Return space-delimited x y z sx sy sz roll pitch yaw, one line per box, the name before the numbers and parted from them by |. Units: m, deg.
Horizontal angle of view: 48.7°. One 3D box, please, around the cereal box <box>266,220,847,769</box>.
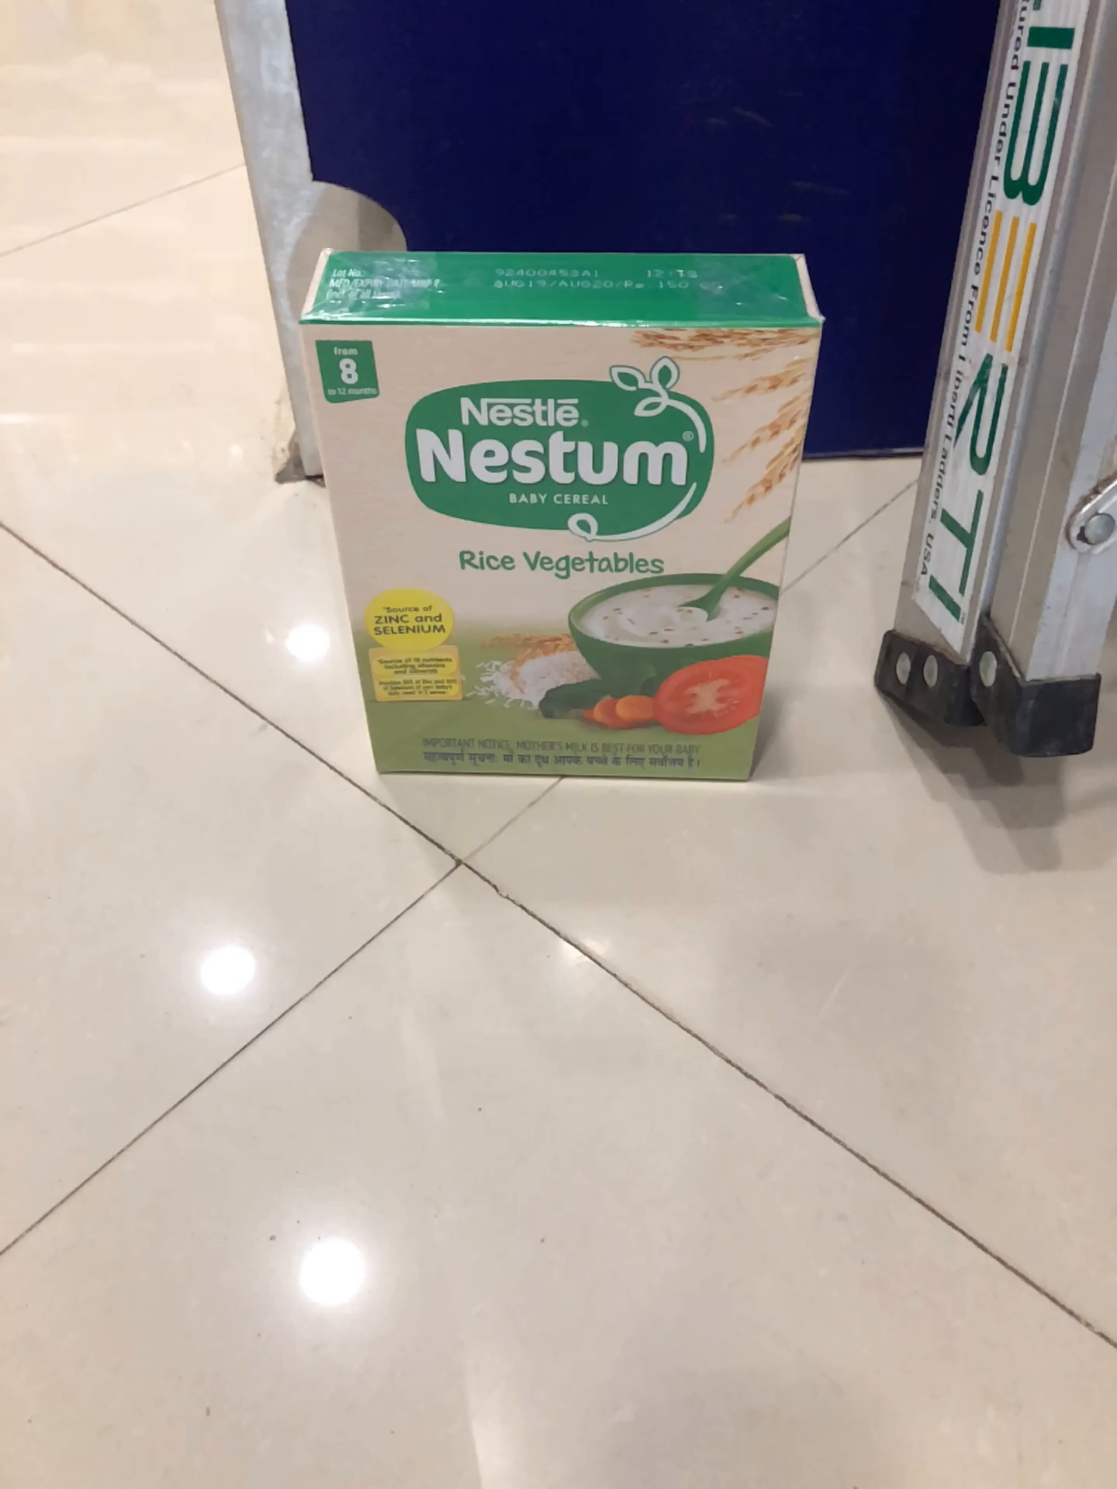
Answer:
cereal box | 0.000 -0.075 0.426 0.160 0.189 0.050 1 46 1
